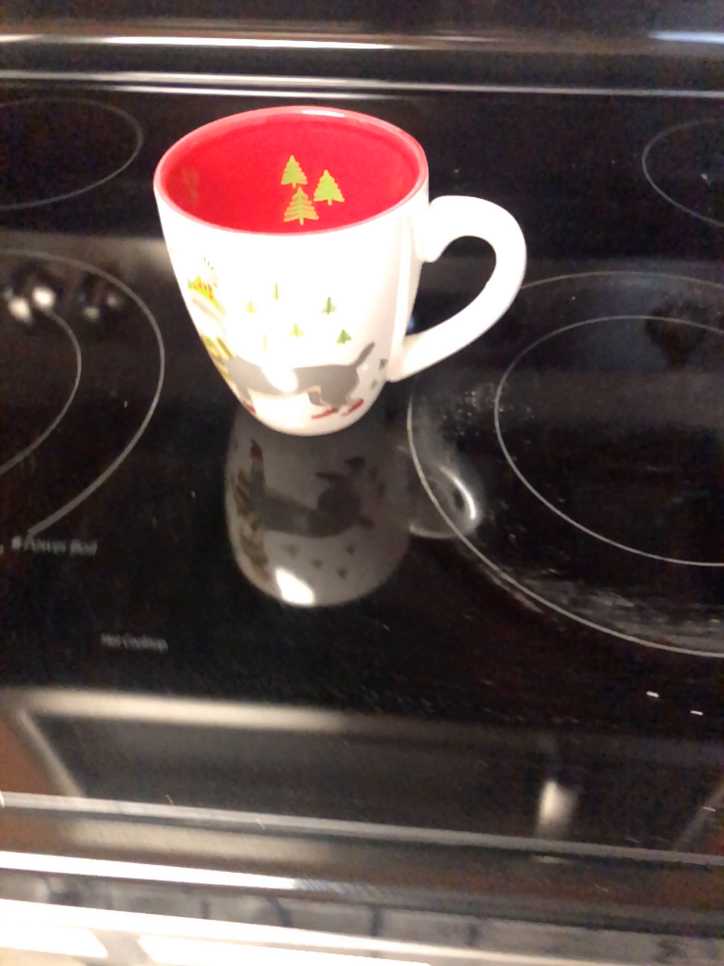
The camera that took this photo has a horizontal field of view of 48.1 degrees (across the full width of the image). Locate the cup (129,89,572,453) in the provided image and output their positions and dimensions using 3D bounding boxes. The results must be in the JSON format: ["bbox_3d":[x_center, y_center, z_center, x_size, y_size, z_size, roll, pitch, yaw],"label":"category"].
[{"bbox_3d":[-0.001,-0.085,0.326,0.140,0.100,0.100,2,48,3],"label":"cup"}]
